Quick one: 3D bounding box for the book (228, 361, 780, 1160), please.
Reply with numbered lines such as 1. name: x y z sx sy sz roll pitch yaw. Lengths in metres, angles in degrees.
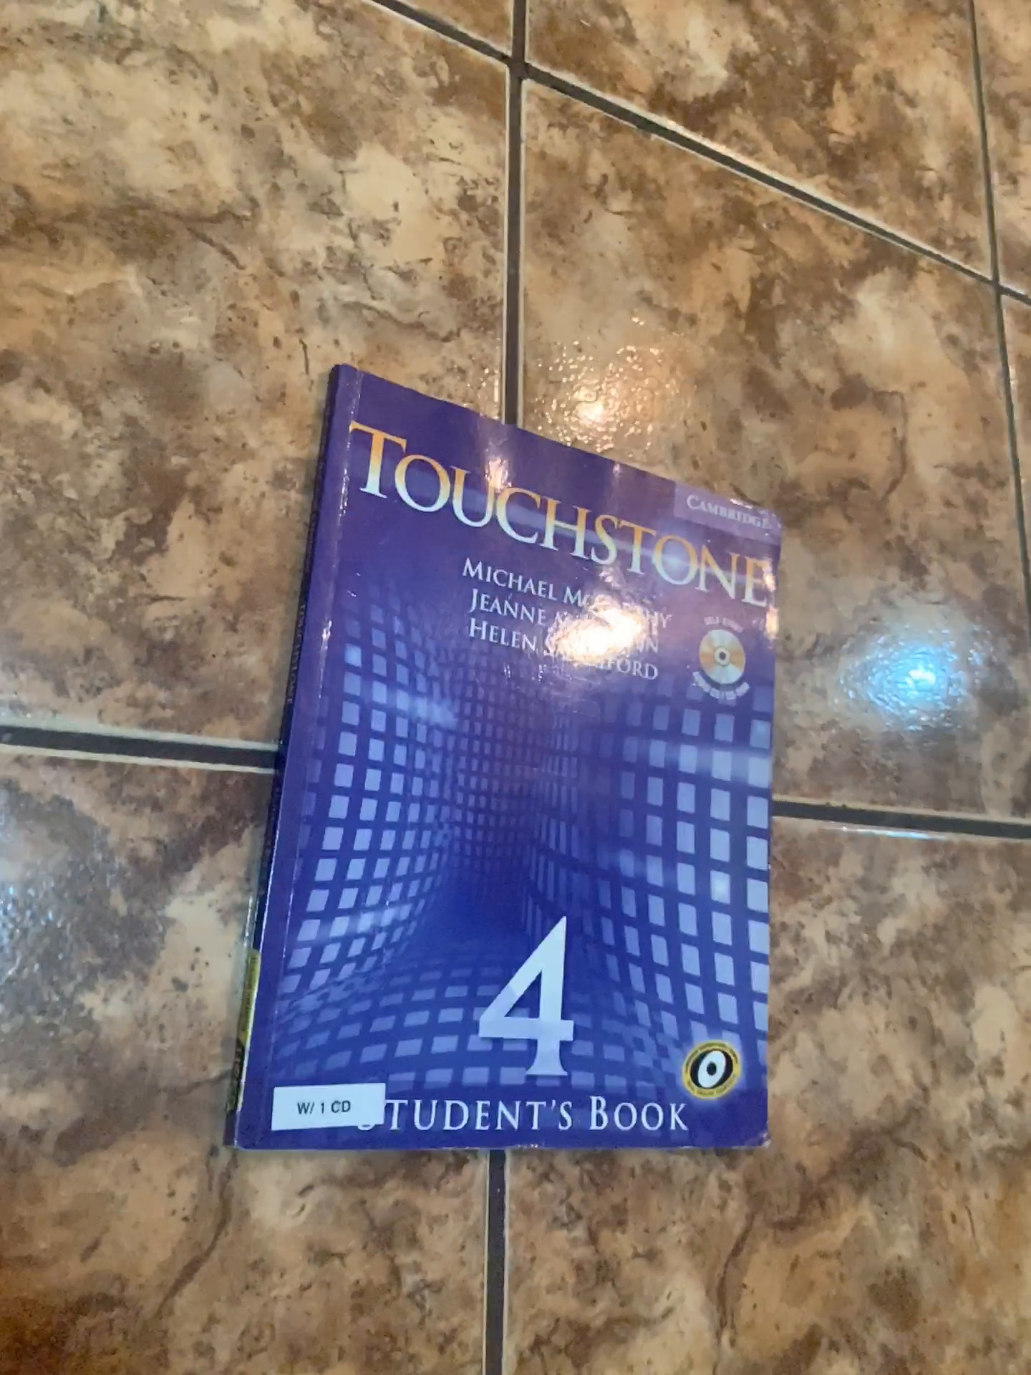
1. book: 0.017 0.032 0.412 0.219 0.010 0.275 12 73 -28
